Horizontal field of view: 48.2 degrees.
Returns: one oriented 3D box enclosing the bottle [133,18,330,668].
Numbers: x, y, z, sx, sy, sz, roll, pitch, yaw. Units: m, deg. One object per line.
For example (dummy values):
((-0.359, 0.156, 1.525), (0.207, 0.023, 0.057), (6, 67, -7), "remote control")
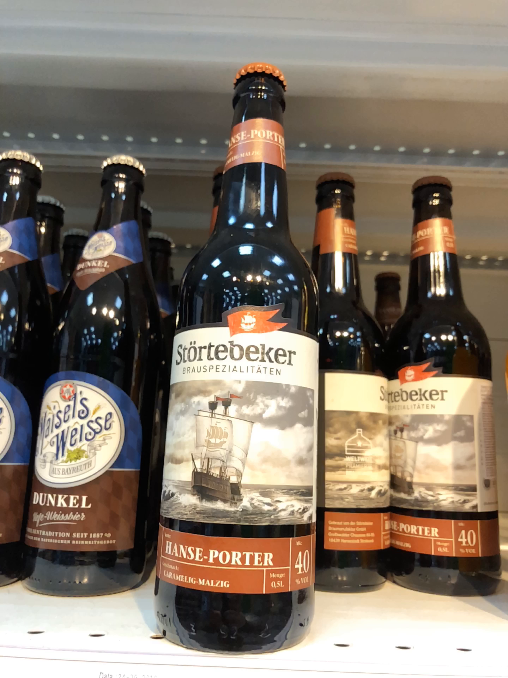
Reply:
((-0.002, -0.009, 0.277), (0.070, 0.281, 0.070), (2, -12, 1), "bottle")
